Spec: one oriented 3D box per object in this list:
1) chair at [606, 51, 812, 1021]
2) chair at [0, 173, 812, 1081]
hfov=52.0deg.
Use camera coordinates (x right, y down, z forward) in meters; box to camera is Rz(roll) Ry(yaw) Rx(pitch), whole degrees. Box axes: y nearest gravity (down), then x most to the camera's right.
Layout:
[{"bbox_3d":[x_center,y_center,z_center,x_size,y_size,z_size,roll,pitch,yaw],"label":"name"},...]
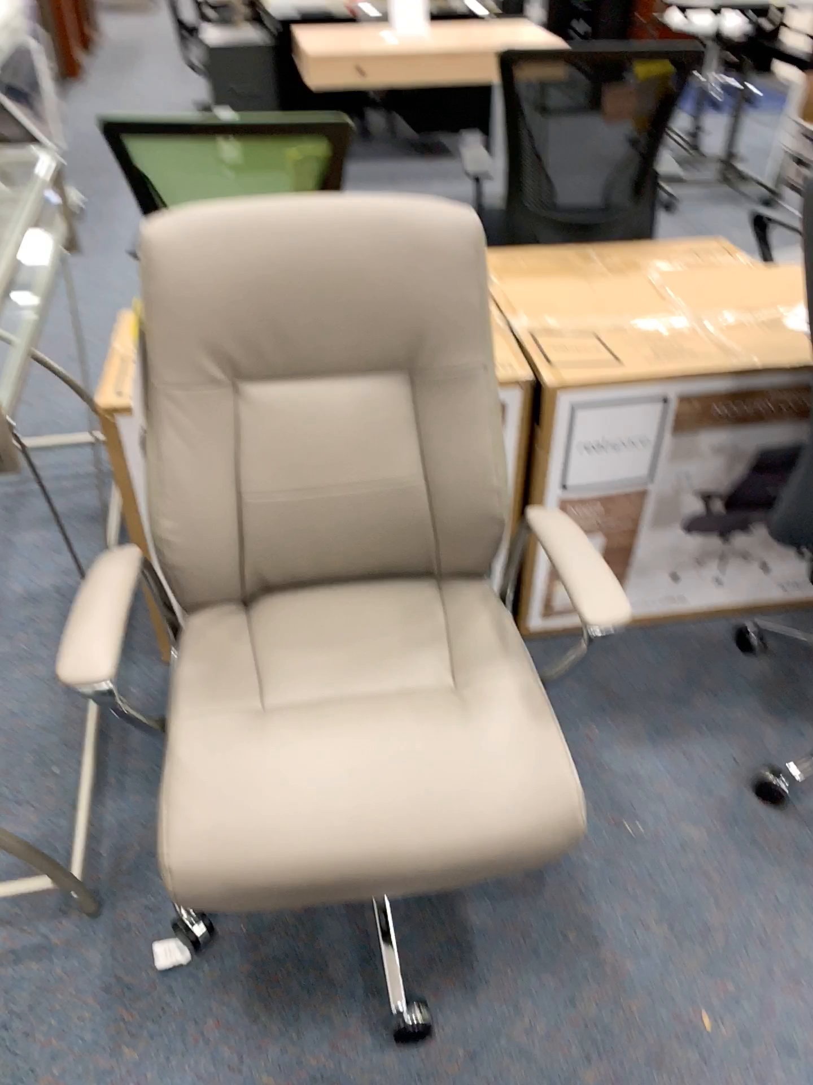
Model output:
[{"bbox_3d":[0.981,-0.074,1.331,0.813,1.055,0.817,-28,47,-30],"label":"chair"},{"bbox_3d":[-0.038,0.118,1.123,0.691,0.956,0.678,-5,40,-6],"label":"chair"}]
